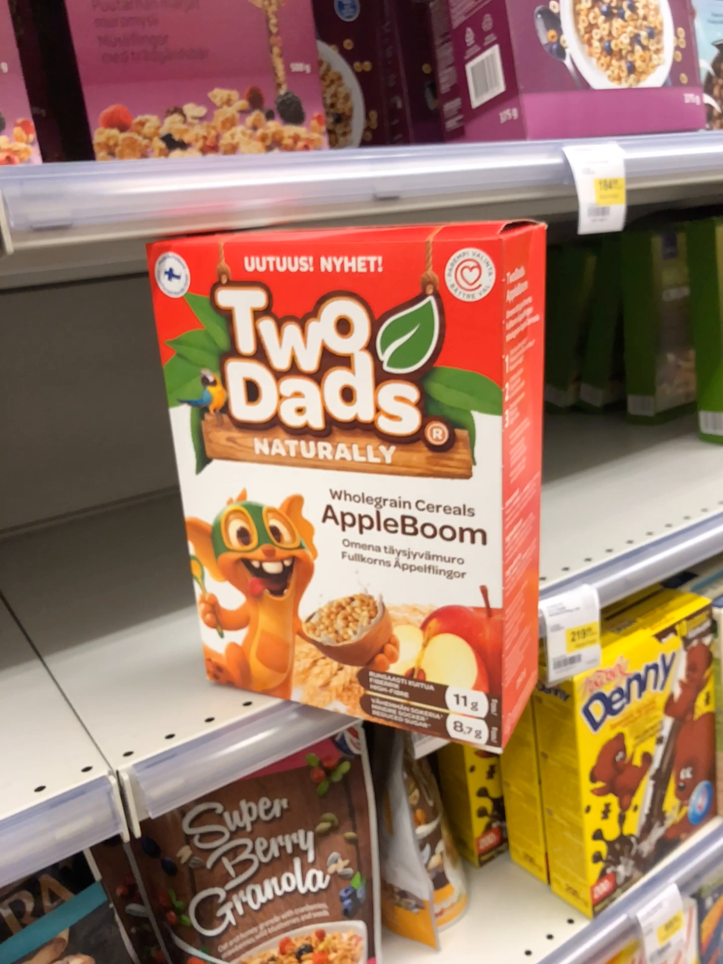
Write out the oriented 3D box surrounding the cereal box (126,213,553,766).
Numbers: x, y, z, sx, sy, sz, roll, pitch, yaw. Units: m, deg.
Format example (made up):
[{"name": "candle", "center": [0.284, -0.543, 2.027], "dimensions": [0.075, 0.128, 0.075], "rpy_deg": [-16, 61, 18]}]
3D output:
[{"name": "cereal box", "center": [-0.007, -0.003, 0.449], "dimensions": [0.200, 0.269, 0.080], "rpy_deg": [7, 22, 25]}]
